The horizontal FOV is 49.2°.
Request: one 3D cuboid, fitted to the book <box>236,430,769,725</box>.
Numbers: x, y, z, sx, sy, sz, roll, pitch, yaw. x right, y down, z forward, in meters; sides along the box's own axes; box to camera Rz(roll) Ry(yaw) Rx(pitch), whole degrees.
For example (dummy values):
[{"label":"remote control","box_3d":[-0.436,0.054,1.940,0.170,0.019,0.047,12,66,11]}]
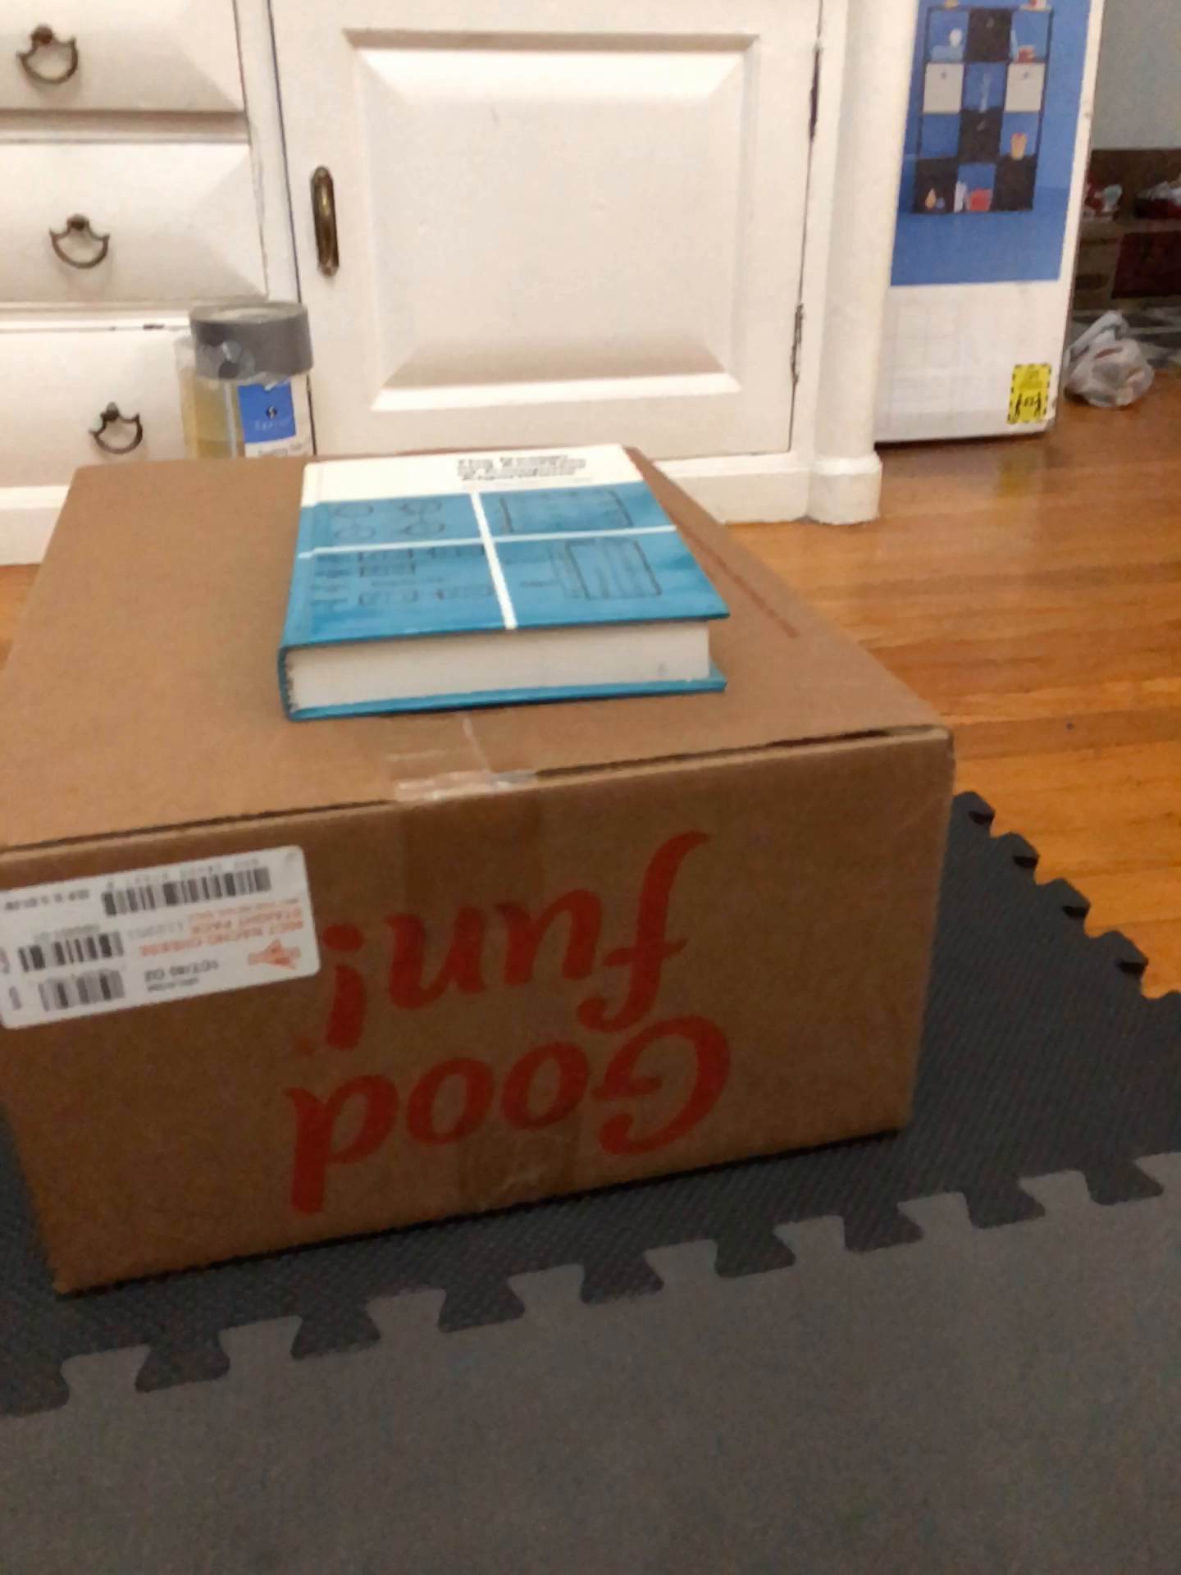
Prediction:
[{"label":"book","box_3d":[-0.047,-0.108,0.583,0.190,0.040,0.261,-4,29,-7]}]
